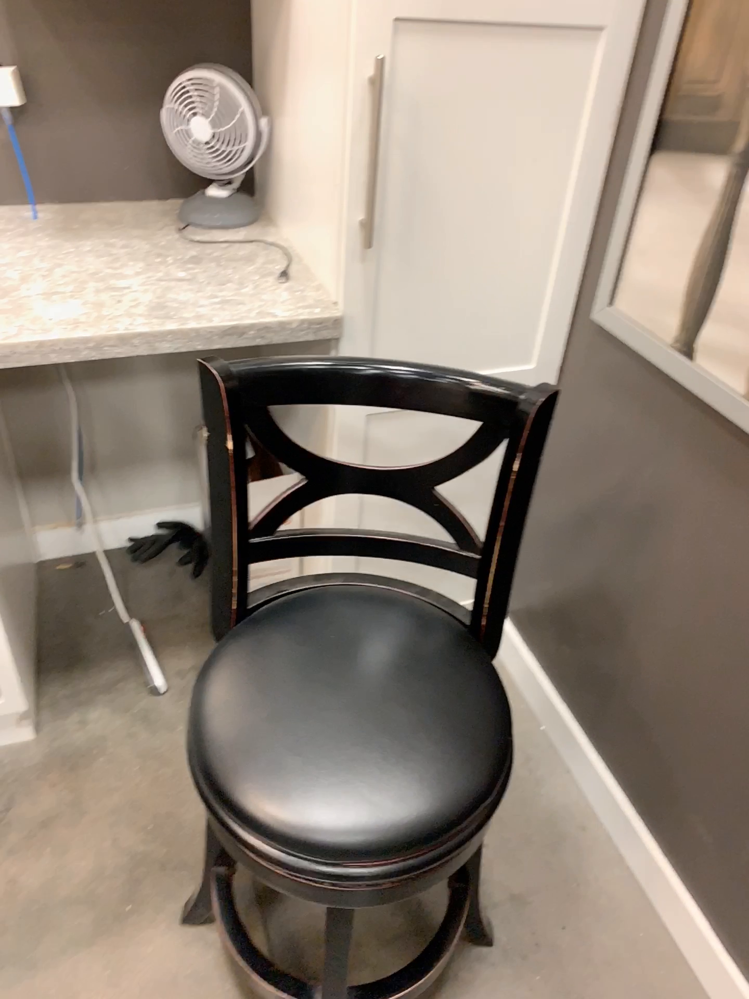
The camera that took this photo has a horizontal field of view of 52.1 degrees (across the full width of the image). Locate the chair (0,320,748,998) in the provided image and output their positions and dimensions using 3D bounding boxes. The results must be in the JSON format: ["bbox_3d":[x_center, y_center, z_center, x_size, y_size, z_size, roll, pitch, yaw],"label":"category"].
[{"bbox_3d":[-0.031,0.326,1.051,0.557,0.914,0.606,4,36,-2],"label":"chair"}]
